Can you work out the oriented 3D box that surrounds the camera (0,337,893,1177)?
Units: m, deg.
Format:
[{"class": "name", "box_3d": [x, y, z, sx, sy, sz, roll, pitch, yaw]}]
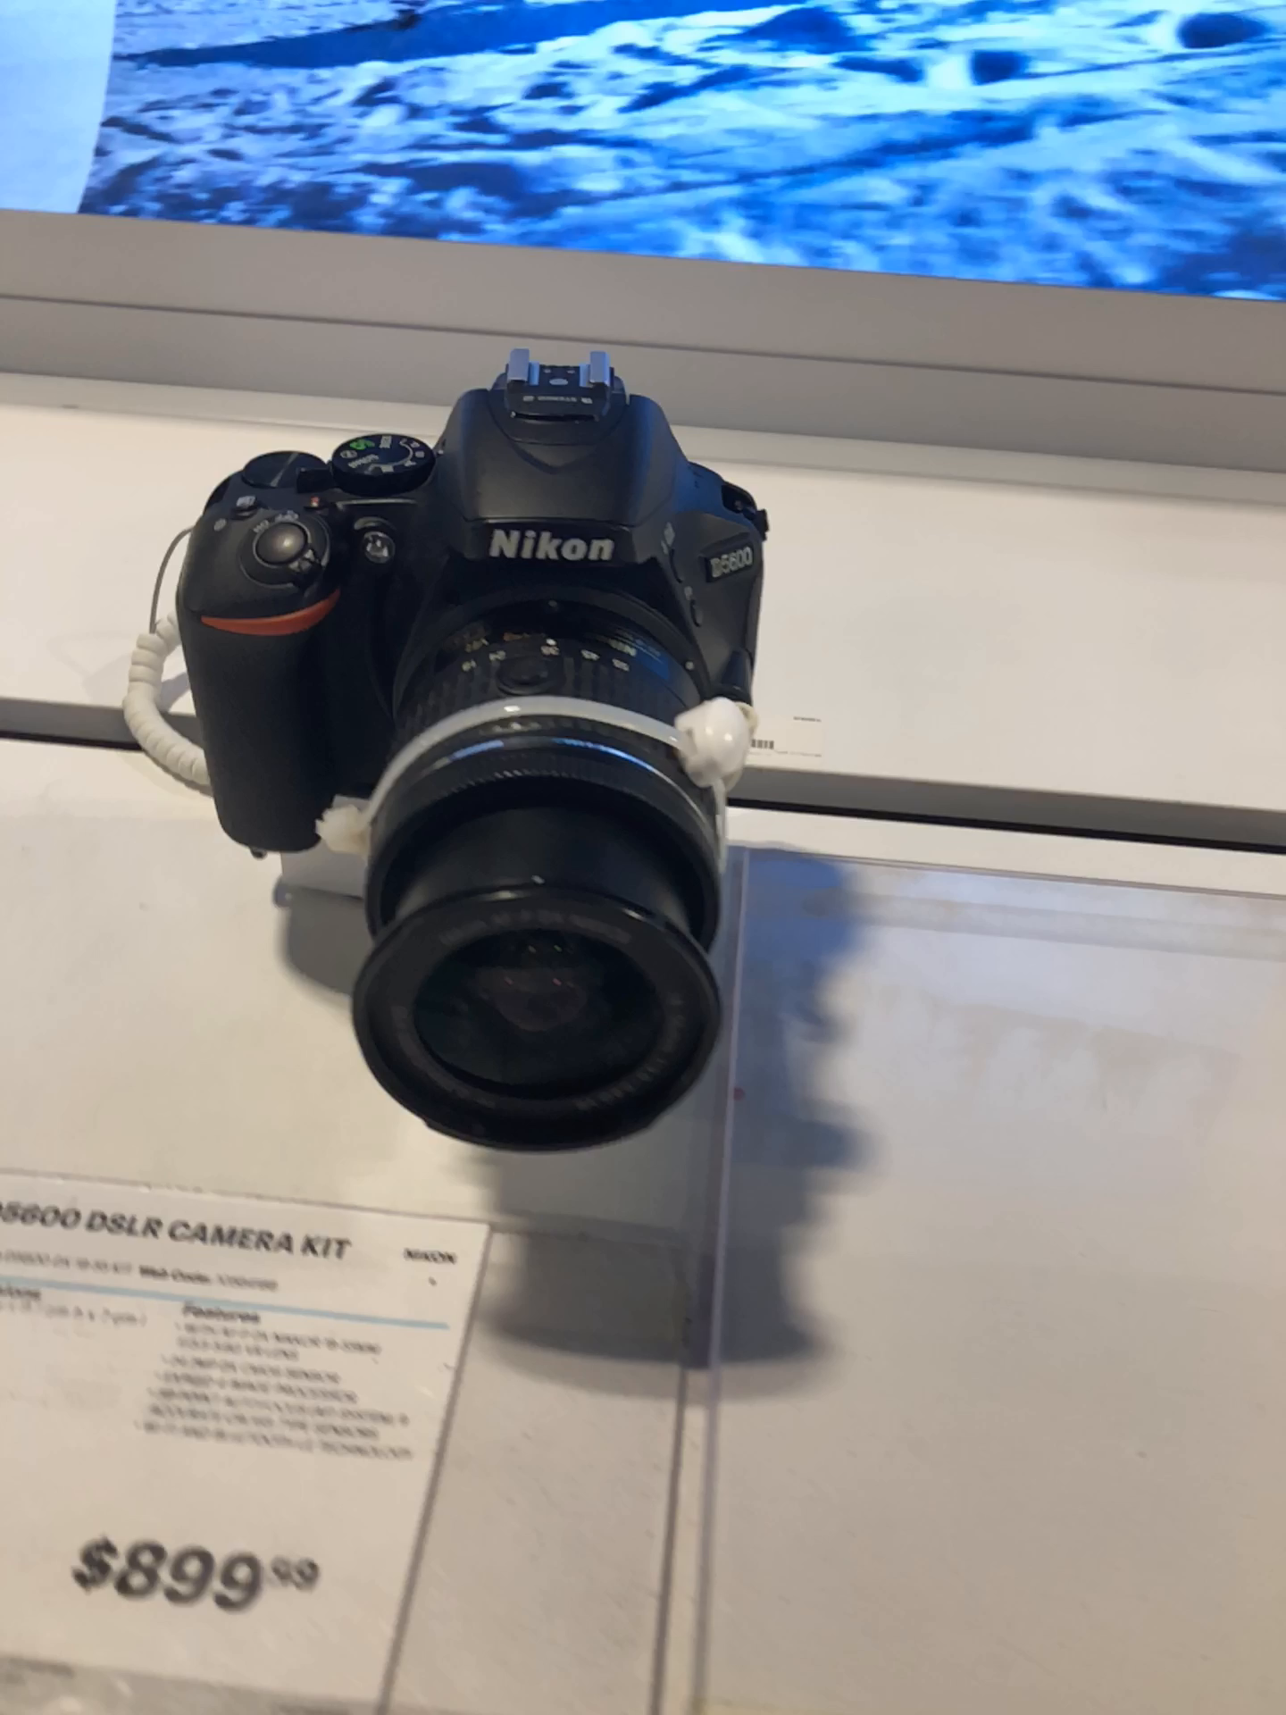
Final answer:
[{"class": "camera", "box_3d": [-0.036, -0.026, 0.263, 0.130, 0.089, 0.141, 1, 38, -2]}]
